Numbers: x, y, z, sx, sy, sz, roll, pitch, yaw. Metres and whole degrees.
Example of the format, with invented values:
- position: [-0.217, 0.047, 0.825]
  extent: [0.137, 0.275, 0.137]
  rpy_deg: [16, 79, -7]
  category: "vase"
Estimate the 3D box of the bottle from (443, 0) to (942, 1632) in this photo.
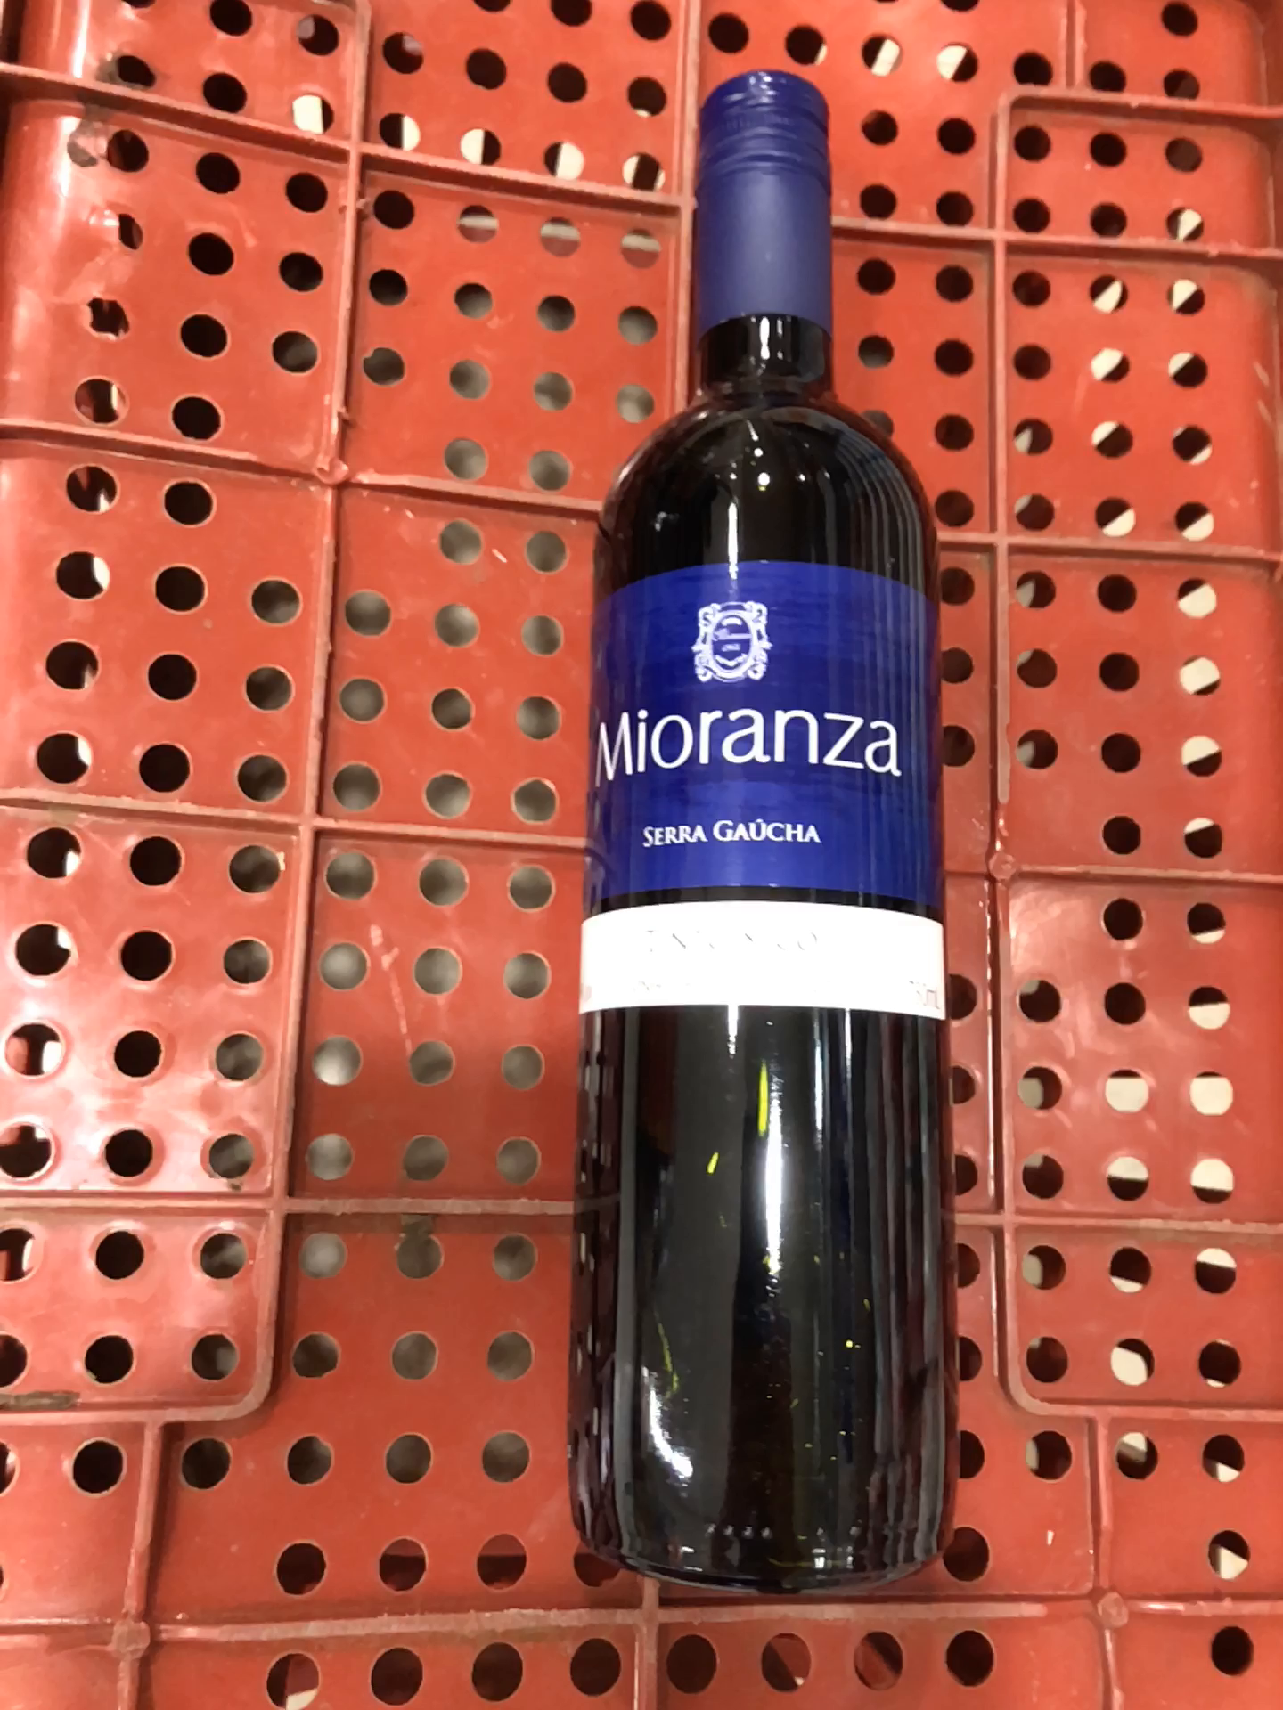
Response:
- position: [0.015, -0.023, 0.282]
  extent: [0.080, 0.060, 0.300]
  rpy_deg: [-1, 80, 12]
  category: "bottle"
